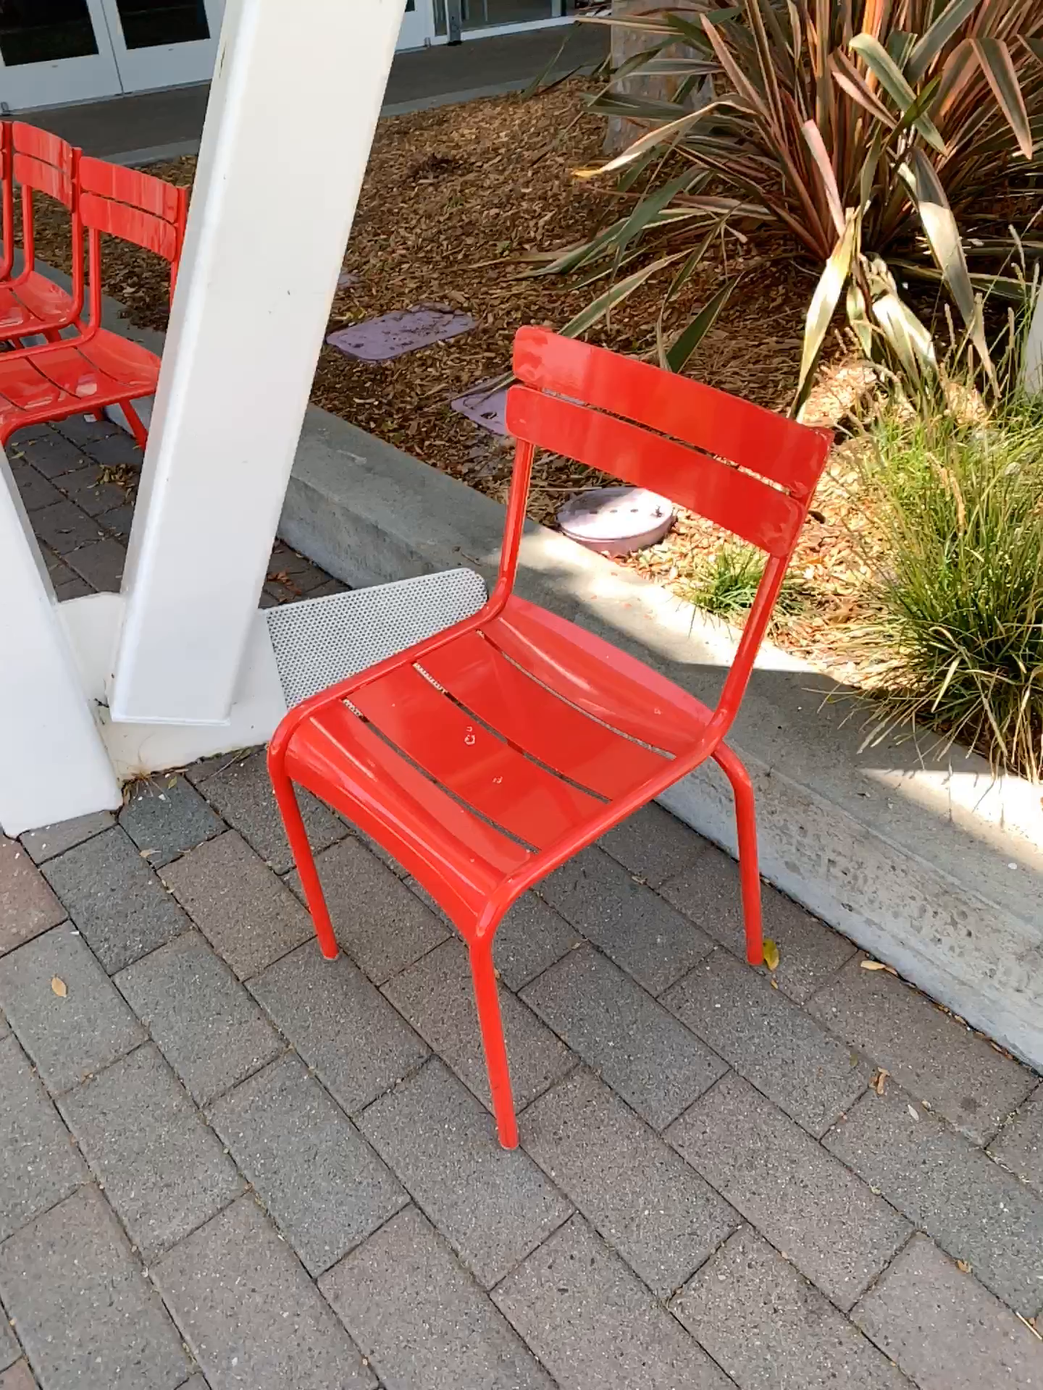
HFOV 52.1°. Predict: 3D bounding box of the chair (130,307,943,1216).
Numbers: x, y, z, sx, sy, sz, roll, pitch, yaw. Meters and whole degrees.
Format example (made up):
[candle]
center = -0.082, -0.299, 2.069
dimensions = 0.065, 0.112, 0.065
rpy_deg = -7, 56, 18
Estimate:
[chair]
center = 0.025, 0.043, 1.363
dimensions = 0.631, 0.785, 0.583
rpy_deg = -30, 45, -31
